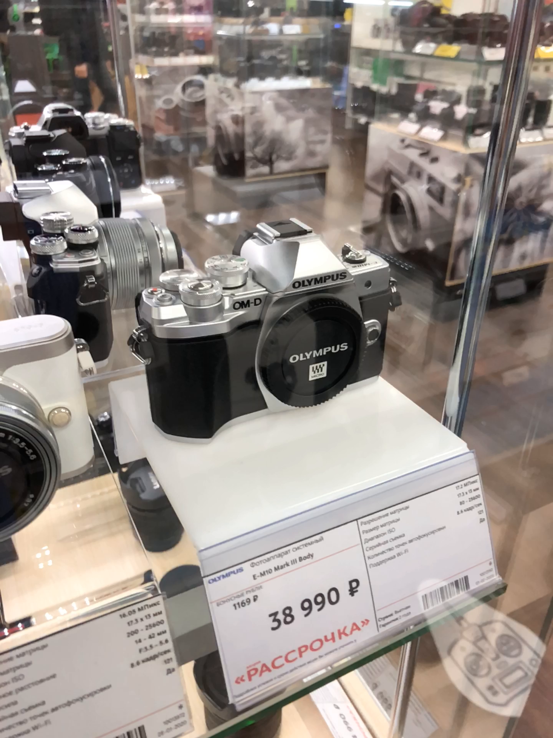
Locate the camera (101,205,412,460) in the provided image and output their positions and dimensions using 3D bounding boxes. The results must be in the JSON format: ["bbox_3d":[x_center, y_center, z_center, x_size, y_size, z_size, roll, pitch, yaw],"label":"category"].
[{"bbox_3d":[-0.009,-0.024,0.291,0.122,0.077,0.065,-15,34,-24],"label":"camera"}]

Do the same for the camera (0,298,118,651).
[{"bbox_3d":[-0.133,0.029,0.226,0.124,0.068,0.068,-14,33,-23],"label":"camera"}]

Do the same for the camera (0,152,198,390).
[{"bbox_3d":[-0.124,-0.069,0.369,0.101,0.084,0.137,-17,35,-27],"label":"camera"}]
